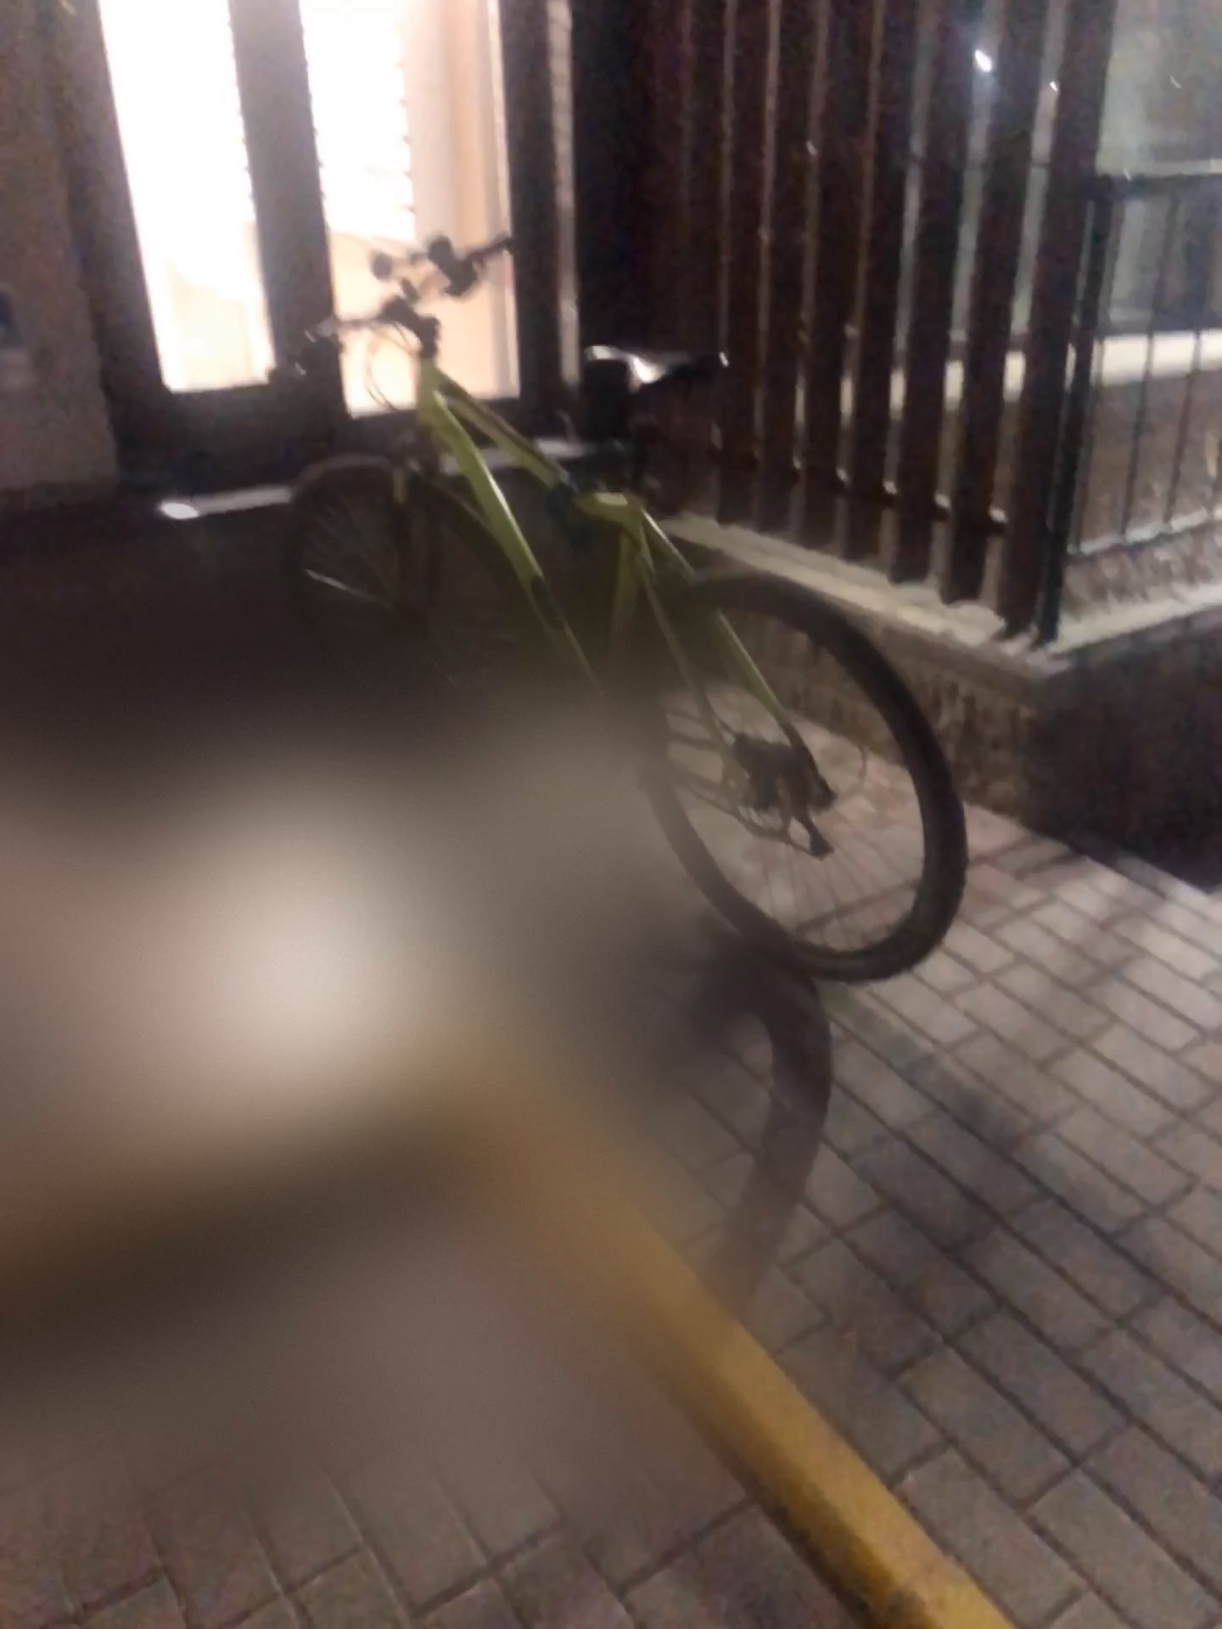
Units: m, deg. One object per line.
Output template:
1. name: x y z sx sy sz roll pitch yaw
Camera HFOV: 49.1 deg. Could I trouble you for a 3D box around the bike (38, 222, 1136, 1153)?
1. bike: -0.174 -0.413 2.395 0.721 1.095 1.764 -24 35 -38
